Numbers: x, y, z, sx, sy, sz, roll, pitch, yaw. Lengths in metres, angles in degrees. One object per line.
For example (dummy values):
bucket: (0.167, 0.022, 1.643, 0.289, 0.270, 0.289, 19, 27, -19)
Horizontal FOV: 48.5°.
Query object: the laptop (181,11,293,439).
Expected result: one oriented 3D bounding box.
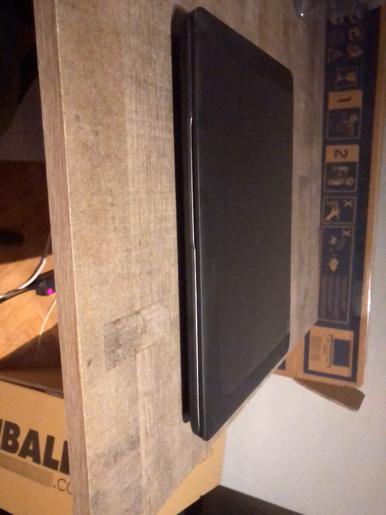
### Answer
laptop: (0.063, -0.031, 0.471, 0.242, 0.017, 0.365, -19, 110, -59)
